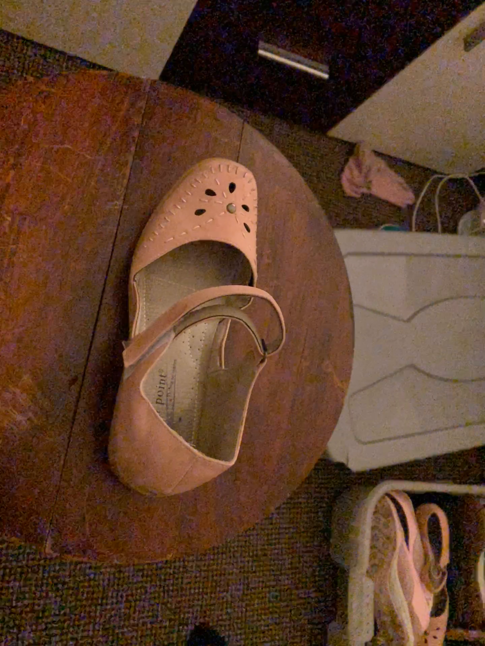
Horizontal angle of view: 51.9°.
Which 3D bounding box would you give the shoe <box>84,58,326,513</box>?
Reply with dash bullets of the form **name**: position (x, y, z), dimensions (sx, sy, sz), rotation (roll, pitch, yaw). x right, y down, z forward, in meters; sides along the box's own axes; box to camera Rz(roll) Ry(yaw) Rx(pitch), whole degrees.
- **shoe**: position (-0.022, -0.022, 0.348), dimensions (0.101, 0.092, 0.272), rotation (15, 73, -23)
